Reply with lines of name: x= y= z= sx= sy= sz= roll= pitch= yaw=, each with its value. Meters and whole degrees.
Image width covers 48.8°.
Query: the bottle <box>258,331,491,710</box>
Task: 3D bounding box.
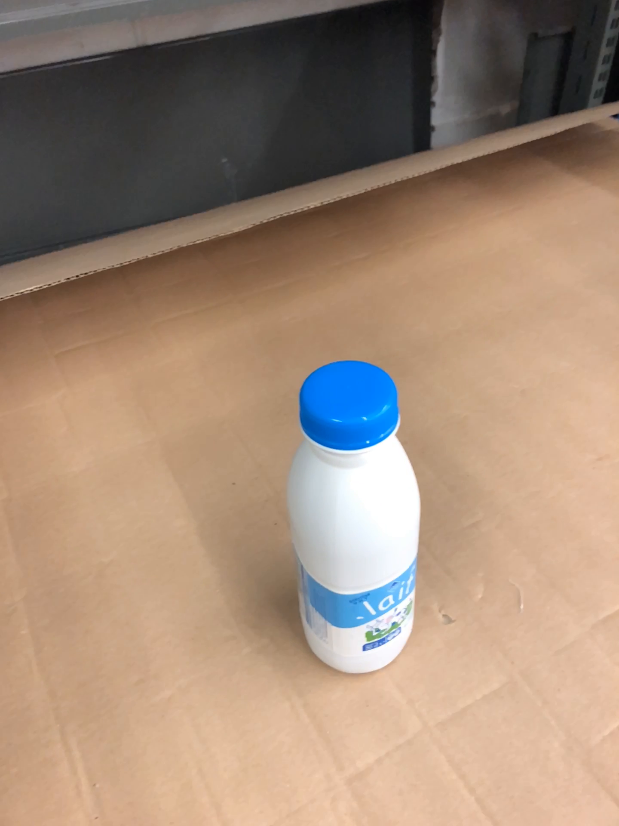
bottle: x=0.028 y=0.063 z=0.348 sx=0.070 sy=0.189 sz=0.070 roll=-1 pitch=43 yaw=1
